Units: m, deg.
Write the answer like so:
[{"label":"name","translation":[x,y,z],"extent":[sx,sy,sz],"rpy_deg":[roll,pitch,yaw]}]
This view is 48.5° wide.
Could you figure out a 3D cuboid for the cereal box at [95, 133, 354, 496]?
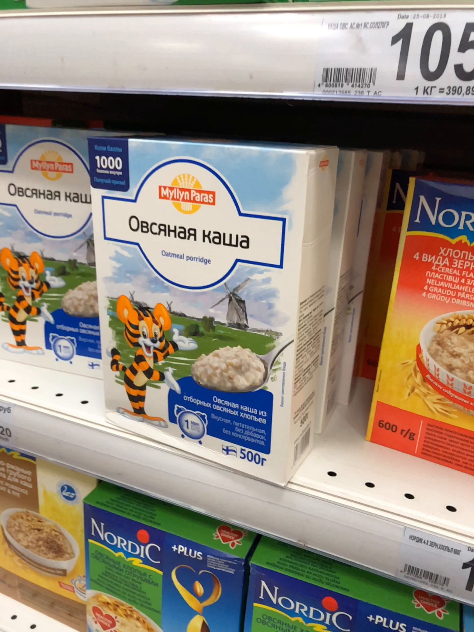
[{"label":"cereal box","translation":[-0.016,-0.007,0.351],"extent":[0.150,0.209,0.050],"rpy_deg":[13,23,26]}]
